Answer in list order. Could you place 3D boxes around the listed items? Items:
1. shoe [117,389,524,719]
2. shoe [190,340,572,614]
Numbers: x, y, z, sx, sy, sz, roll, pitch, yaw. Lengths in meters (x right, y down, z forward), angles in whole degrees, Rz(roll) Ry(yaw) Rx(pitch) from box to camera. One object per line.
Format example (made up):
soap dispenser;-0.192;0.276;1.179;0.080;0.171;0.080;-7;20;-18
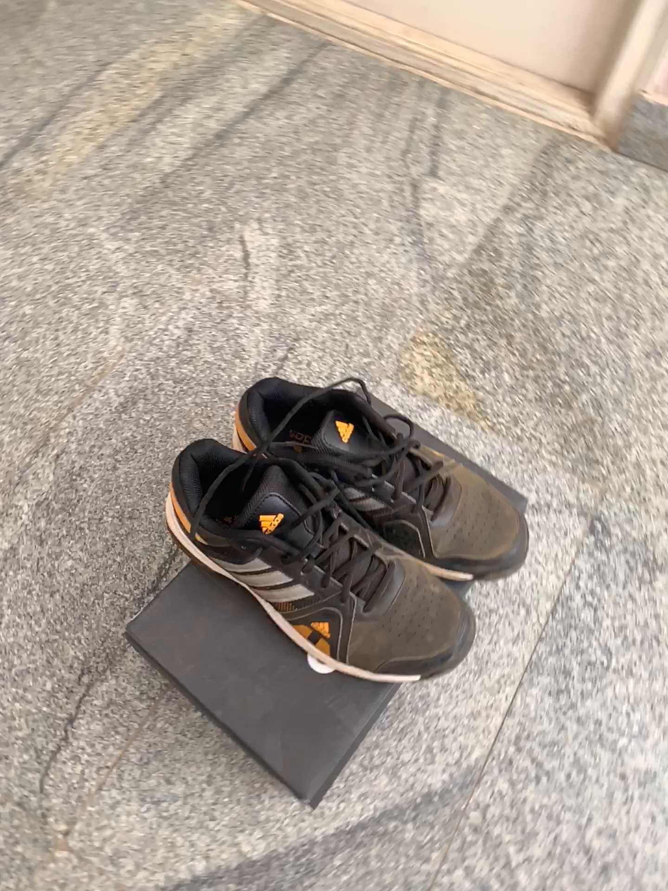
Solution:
shoe;-0.014;0.082;0.549;0.290;0.090;0.110;28;61;13
shoe;0.037;0.027;0.610;0.300;0.090;0.110;24;68;11
